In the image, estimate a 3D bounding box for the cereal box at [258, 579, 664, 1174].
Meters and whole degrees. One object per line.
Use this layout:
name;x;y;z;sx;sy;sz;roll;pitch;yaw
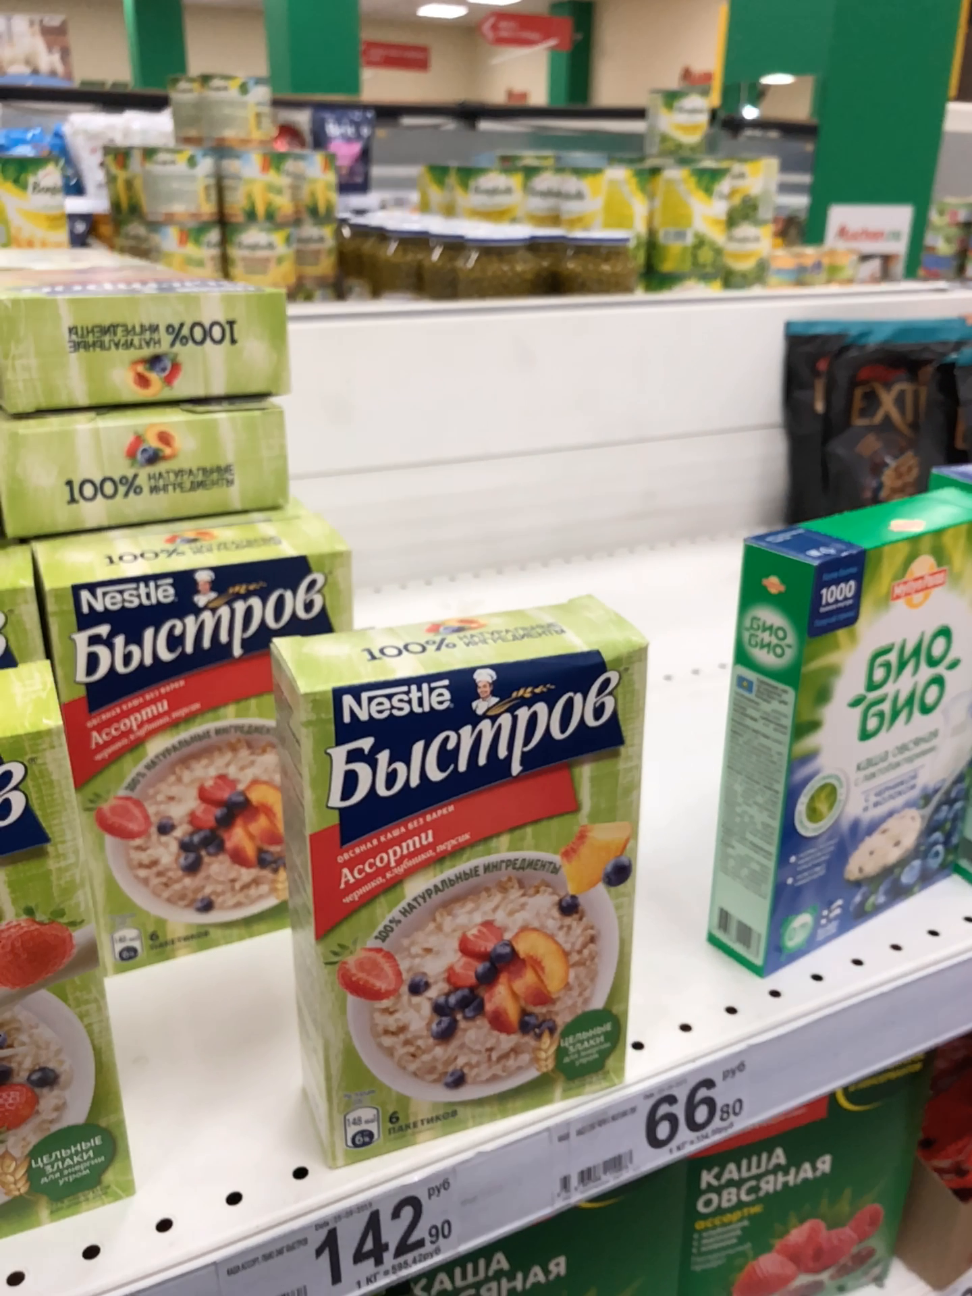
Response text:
cereal box;-0.008;0.084;0.407;0.130;0.199;0.050;-8;22;-19
